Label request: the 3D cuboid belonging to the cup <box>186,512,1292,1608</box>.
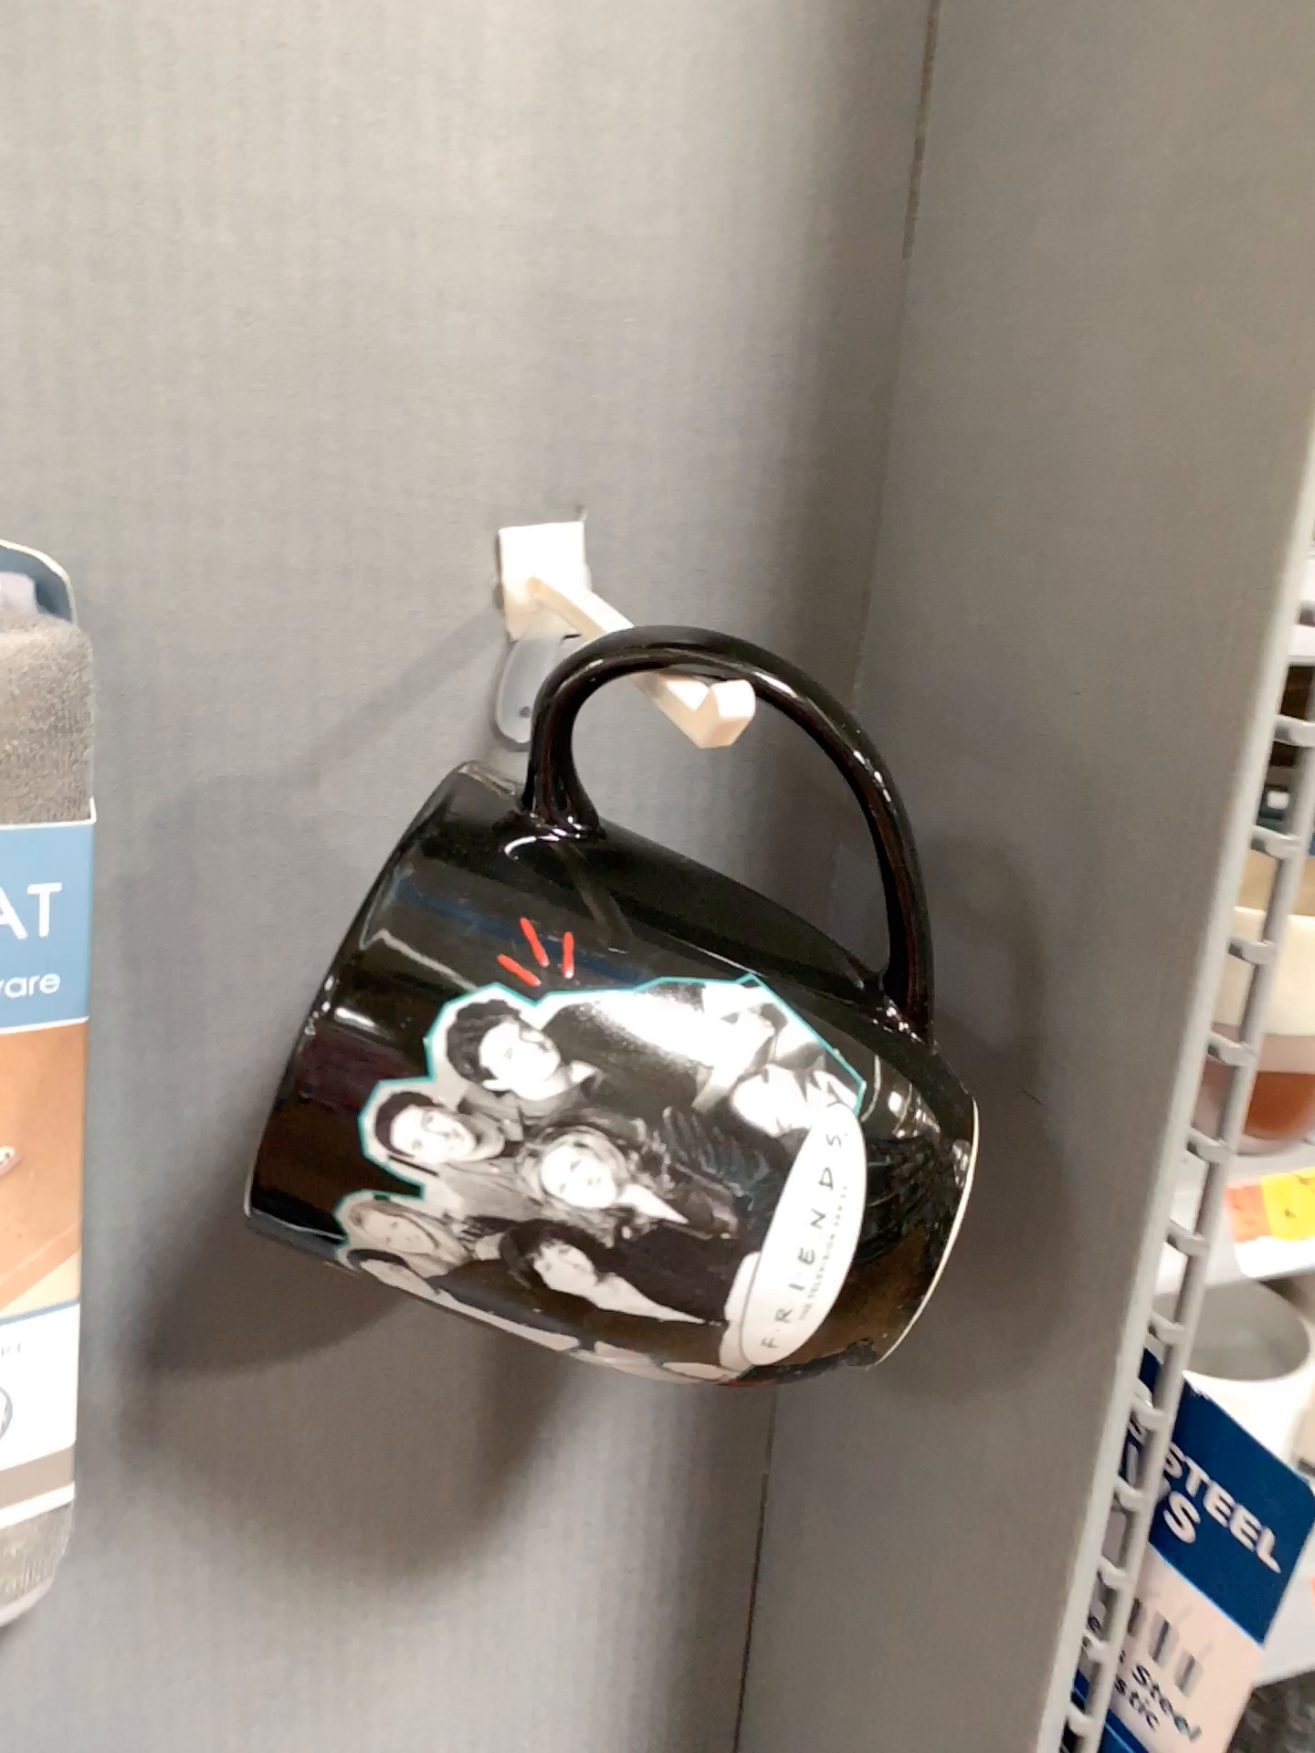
[{"bbox_3d":[0.009,0.023,0.234,0.115,0.128,0.087,23,18,-1],"label":"cup"}]
